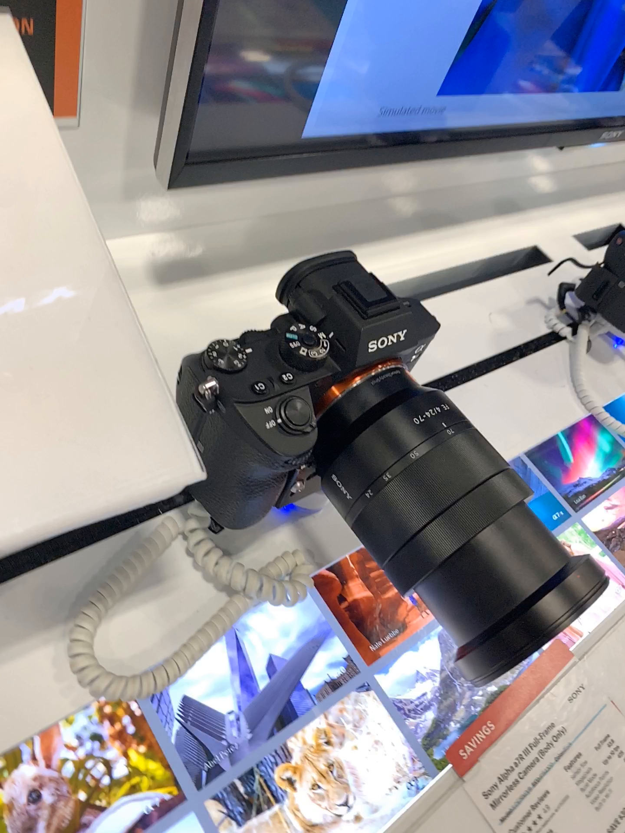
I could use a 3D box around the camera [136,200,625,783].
[{"bbox_3d":[0.037,0.018,0.280,0.130,0.099,0.193,-26,66,-35],"label":"camera"}]
